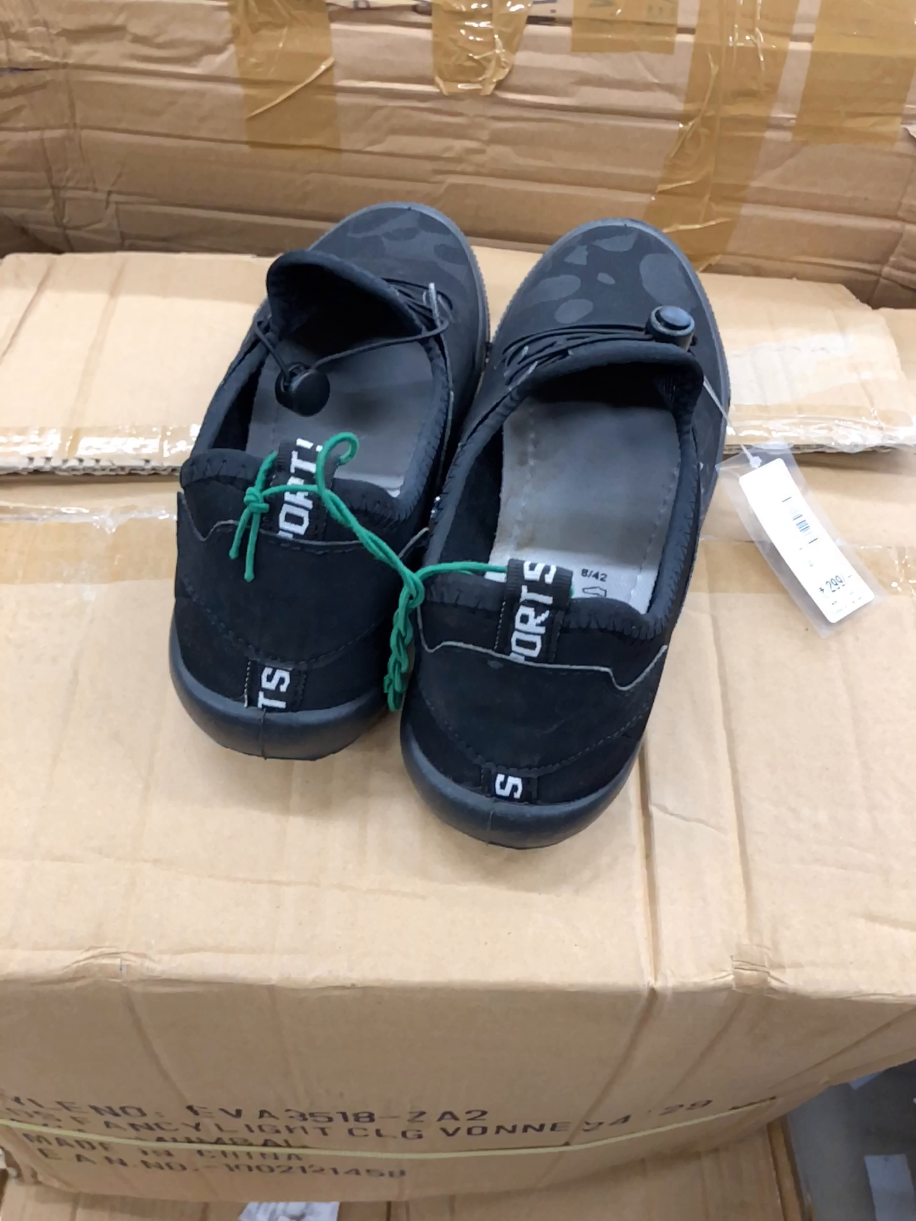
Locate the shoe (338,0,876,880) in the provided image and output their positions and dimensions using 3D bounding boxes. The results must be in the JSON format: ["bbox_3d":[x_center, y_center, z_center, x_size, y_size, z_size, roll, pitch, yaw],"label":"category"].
[{"bbox_3d":[0.054,-0.088,0.373,0.120,0.129,0.322,9,53,3],"label":"shoe"}]

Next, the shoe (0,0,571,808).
[{"bbox_3d":[-0.038,-0.105,0.377,0.120,0.129,0.312,8,53,2],"label":"shoe"}]
